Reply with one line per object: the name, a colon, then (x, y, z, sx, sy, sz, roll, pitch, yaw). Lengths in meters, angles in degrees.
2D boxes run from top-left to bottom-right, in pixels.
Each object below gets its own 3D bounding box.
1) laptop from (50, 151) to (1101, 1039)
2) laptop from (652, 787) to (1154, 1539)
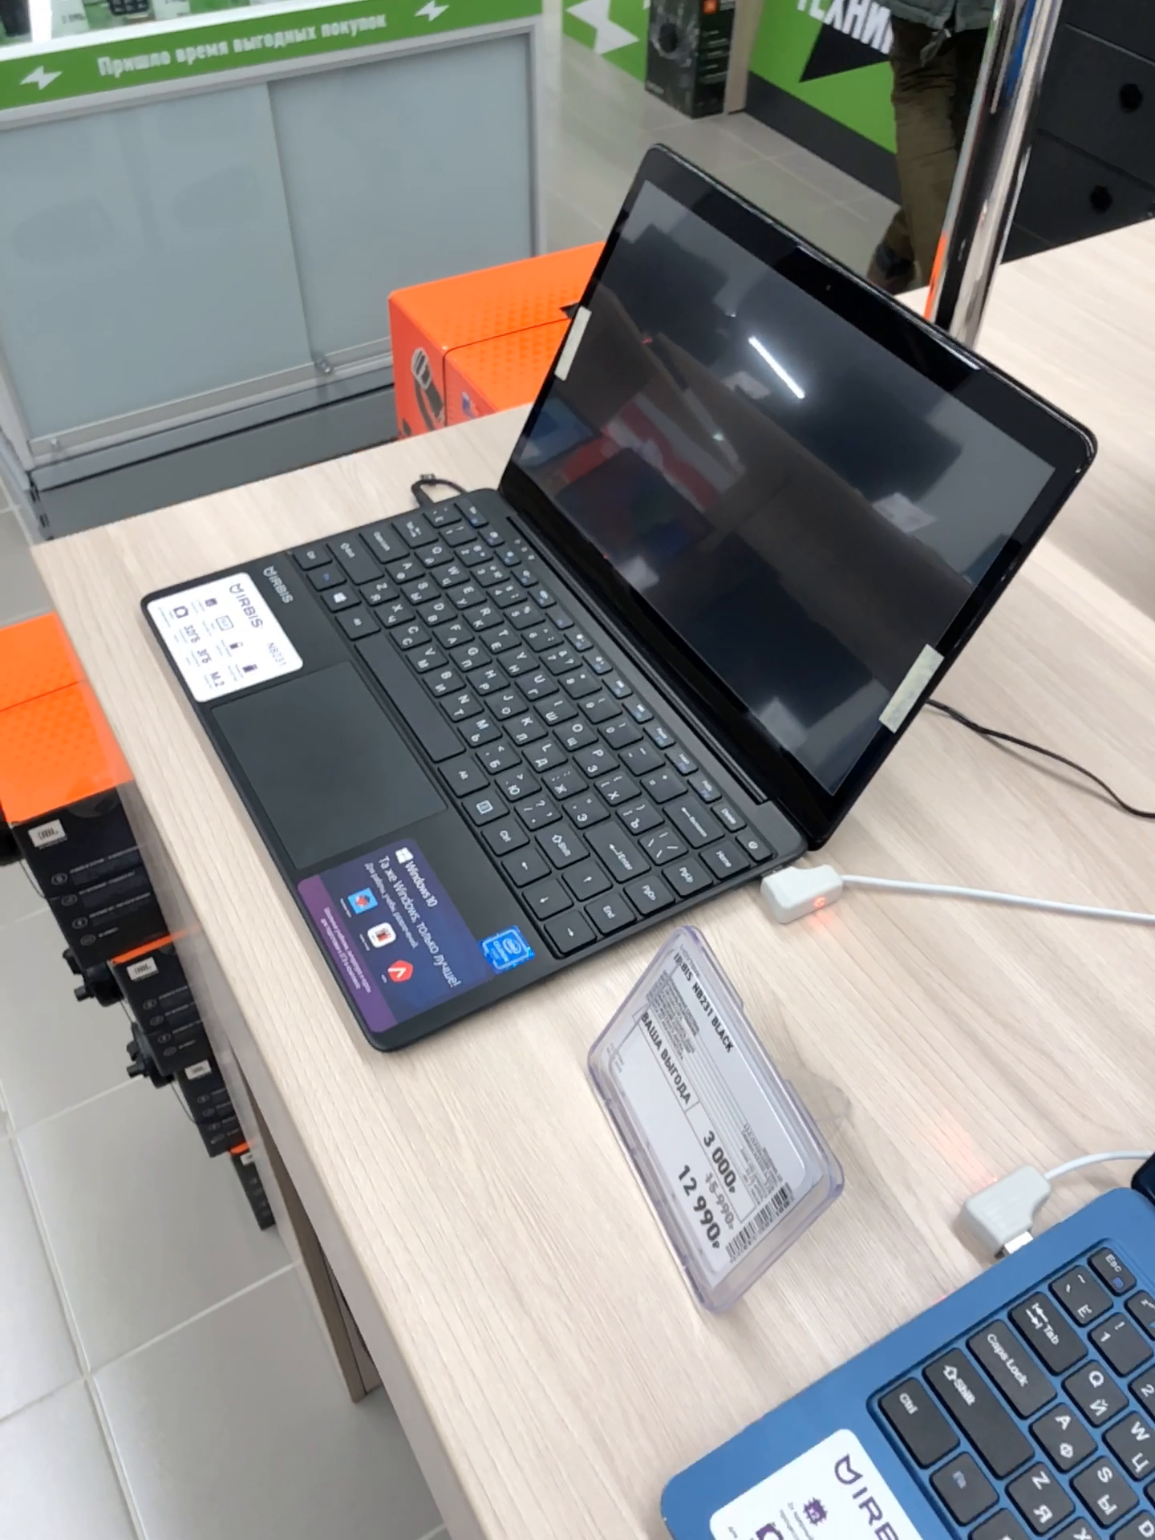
laptop: (-0.019, -0.107, 0.567, 0.306, 0.172, 0.305, -22, 50, -20)
laptop: (0.219, 0.206, 0.263, 0.265, 0.186, 0.309, -21, 50, -20)
